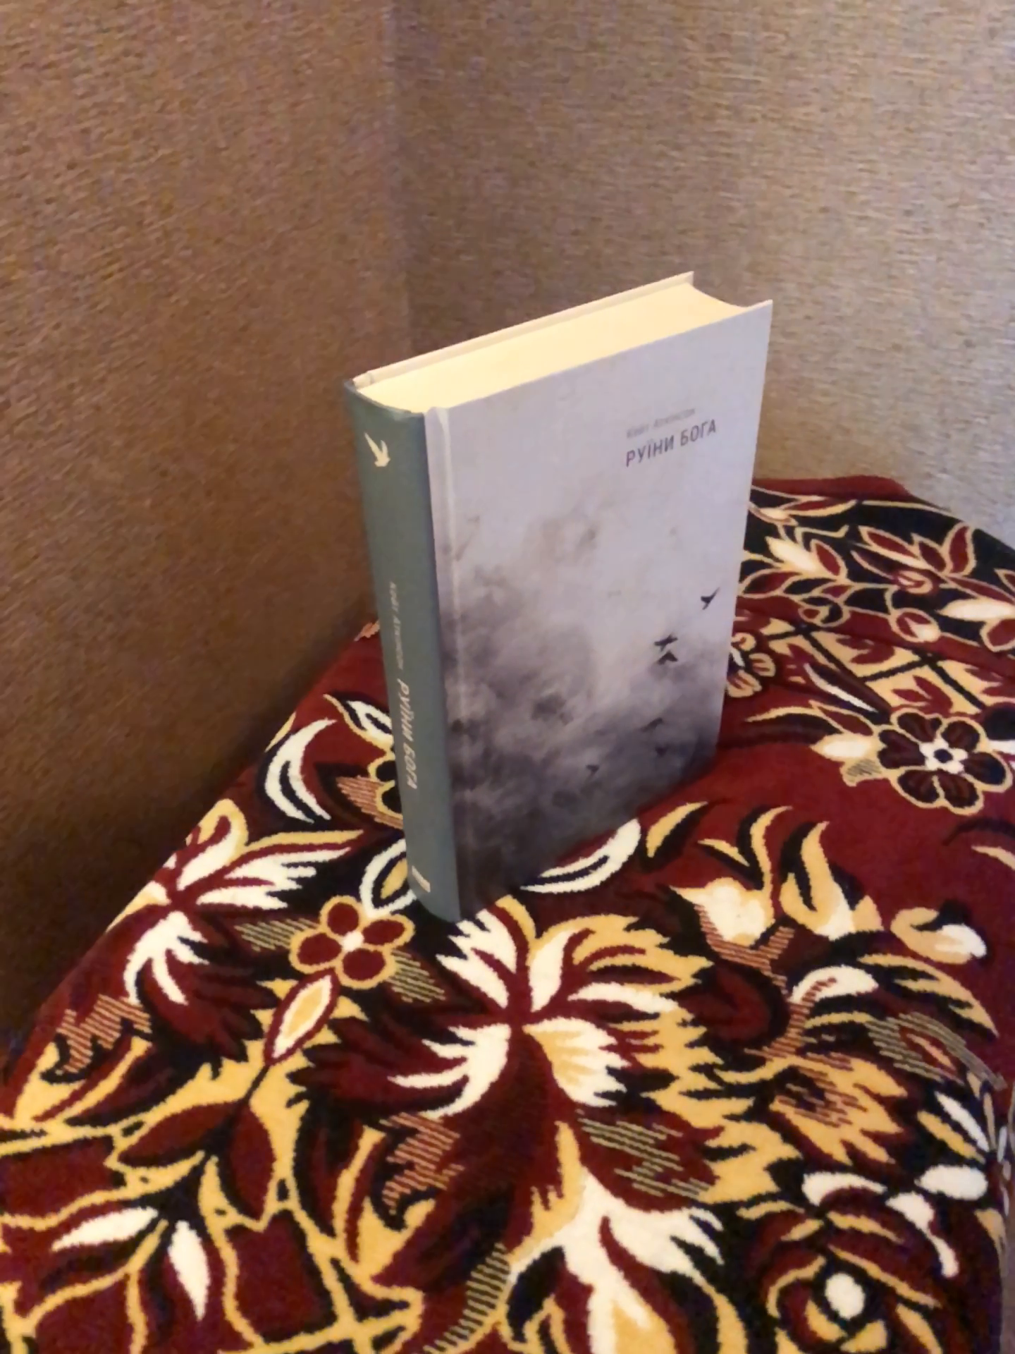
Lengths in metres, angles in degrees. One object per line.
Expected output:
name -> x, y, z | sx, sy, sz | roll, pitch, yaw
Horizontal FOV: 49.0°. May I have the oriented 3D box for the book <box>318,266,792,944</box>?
book -> 0.018, -0.022, 0.392 | 0.145, 0.200, 0.048 | -26, 45, -30
